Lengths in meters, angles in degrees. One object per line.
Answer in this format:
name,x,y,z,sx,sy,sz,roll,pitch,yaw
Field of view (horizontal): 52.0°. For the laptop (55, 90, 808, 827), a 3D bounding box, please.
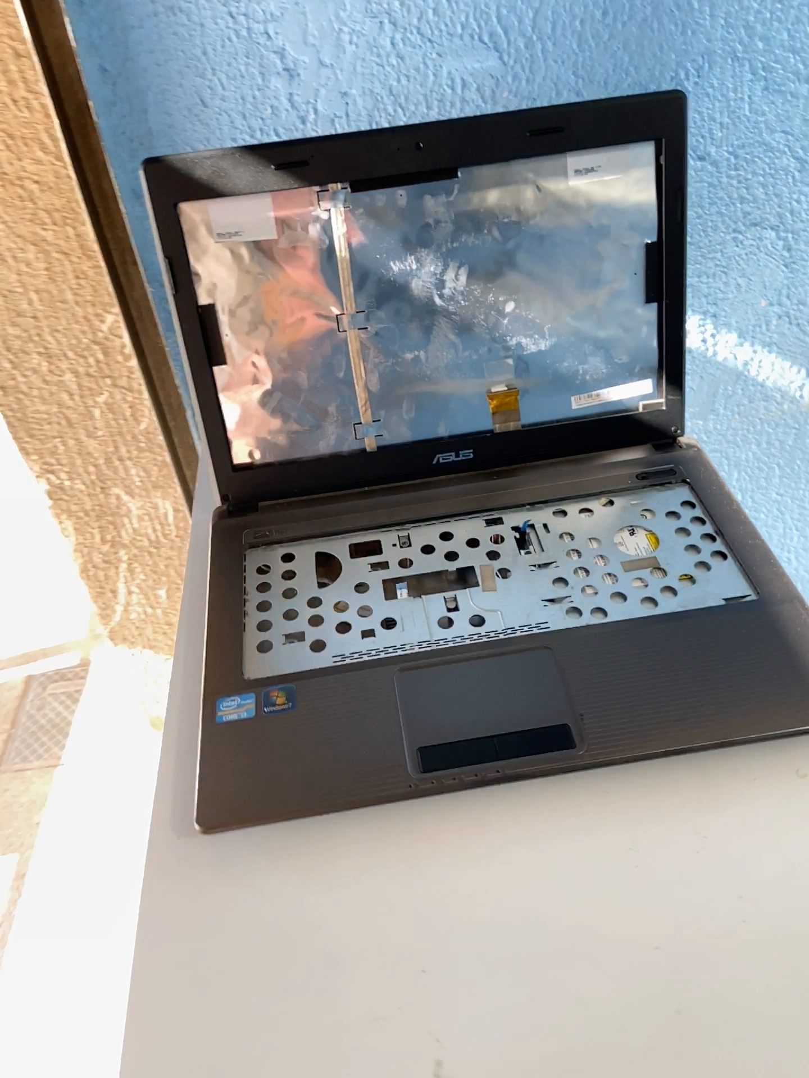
laptop,0.039,-0.071,0.456,0.336,0.202,0.329,-9,43,-3
